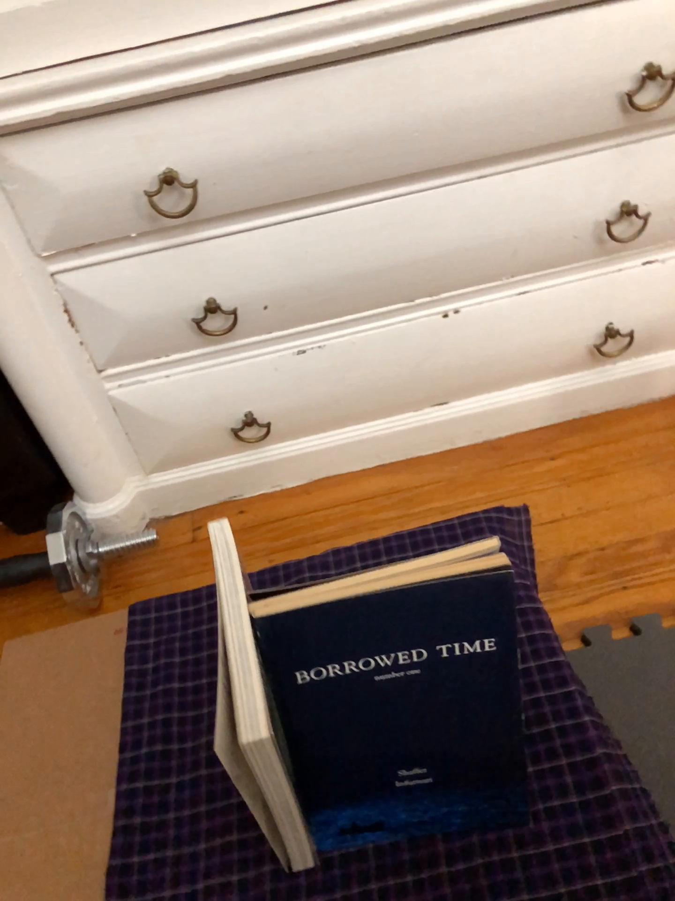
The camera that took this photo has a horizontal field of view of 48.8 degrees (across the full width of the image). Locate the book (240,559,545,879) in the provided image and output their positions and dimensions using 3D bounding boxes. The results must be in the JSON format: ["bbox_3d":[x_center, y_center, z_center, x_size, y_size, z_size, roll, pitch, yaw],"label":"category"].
[{"bbox_3d":[0.040,0.164,0.435,0.150,0.199,0.010,-11,24,0],"label":"book"}]

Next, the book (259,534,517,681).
[{"bbox_3d":[0.037,0.111,0.485,0.140,0.199,0.010,-15,63,-1],"label":"book"}]

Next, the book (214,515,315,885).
[{"bbox_3d":[-0.043,0.155,0.453,0.020,0.189,0.141,-11,44,-7],"label":"book"}]
